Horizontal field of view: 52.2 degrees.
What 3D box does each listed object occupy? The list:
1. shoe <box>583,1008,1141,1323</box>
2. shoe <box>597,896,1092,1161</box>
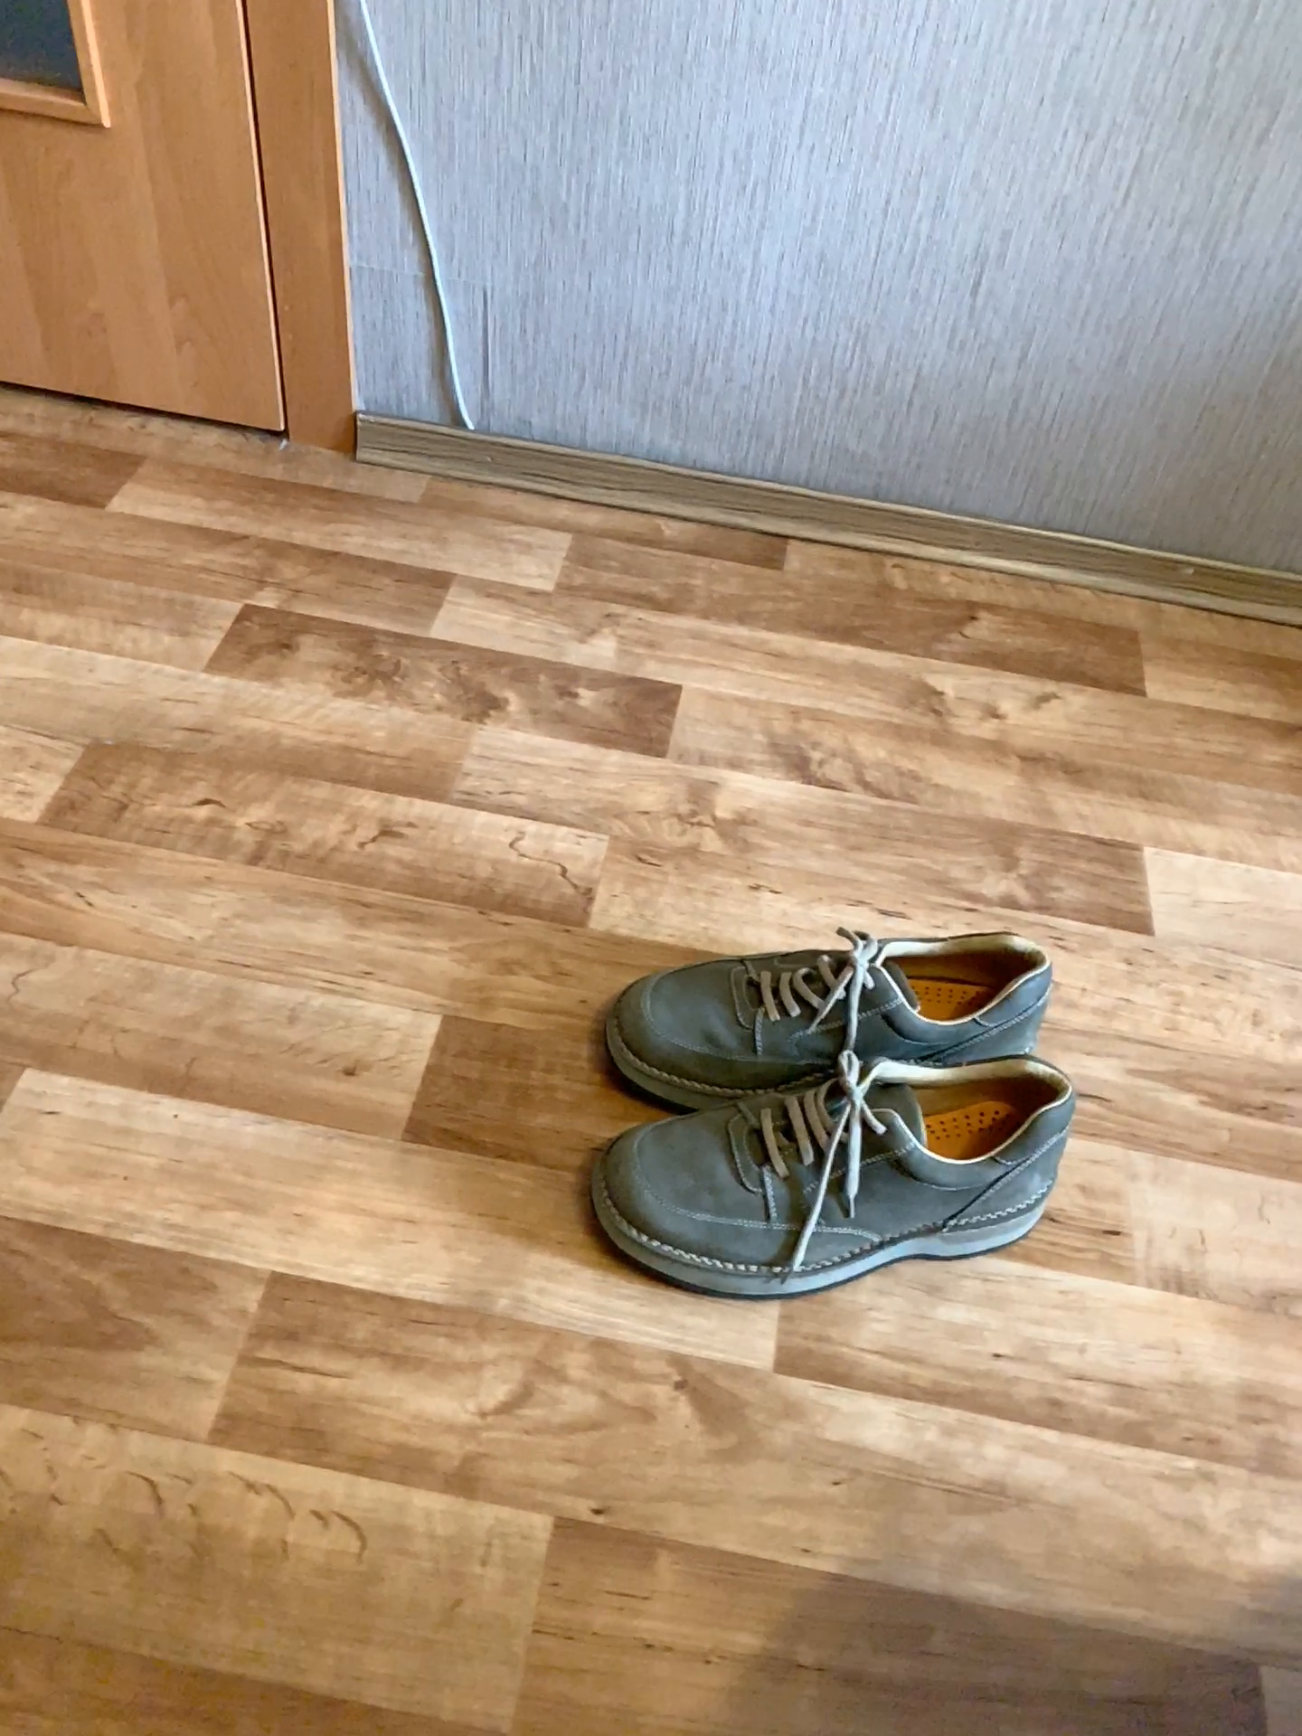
[{"bbox_3d":[0.114,0.174,0.791,0.290,0.109,0.121,-3,47,-10],"label":"shoe"},{"bbox_3d":[0.117,0.105,0.886,0.290,0.119,0.121,0,47,-9],"label":"shoe"}]
